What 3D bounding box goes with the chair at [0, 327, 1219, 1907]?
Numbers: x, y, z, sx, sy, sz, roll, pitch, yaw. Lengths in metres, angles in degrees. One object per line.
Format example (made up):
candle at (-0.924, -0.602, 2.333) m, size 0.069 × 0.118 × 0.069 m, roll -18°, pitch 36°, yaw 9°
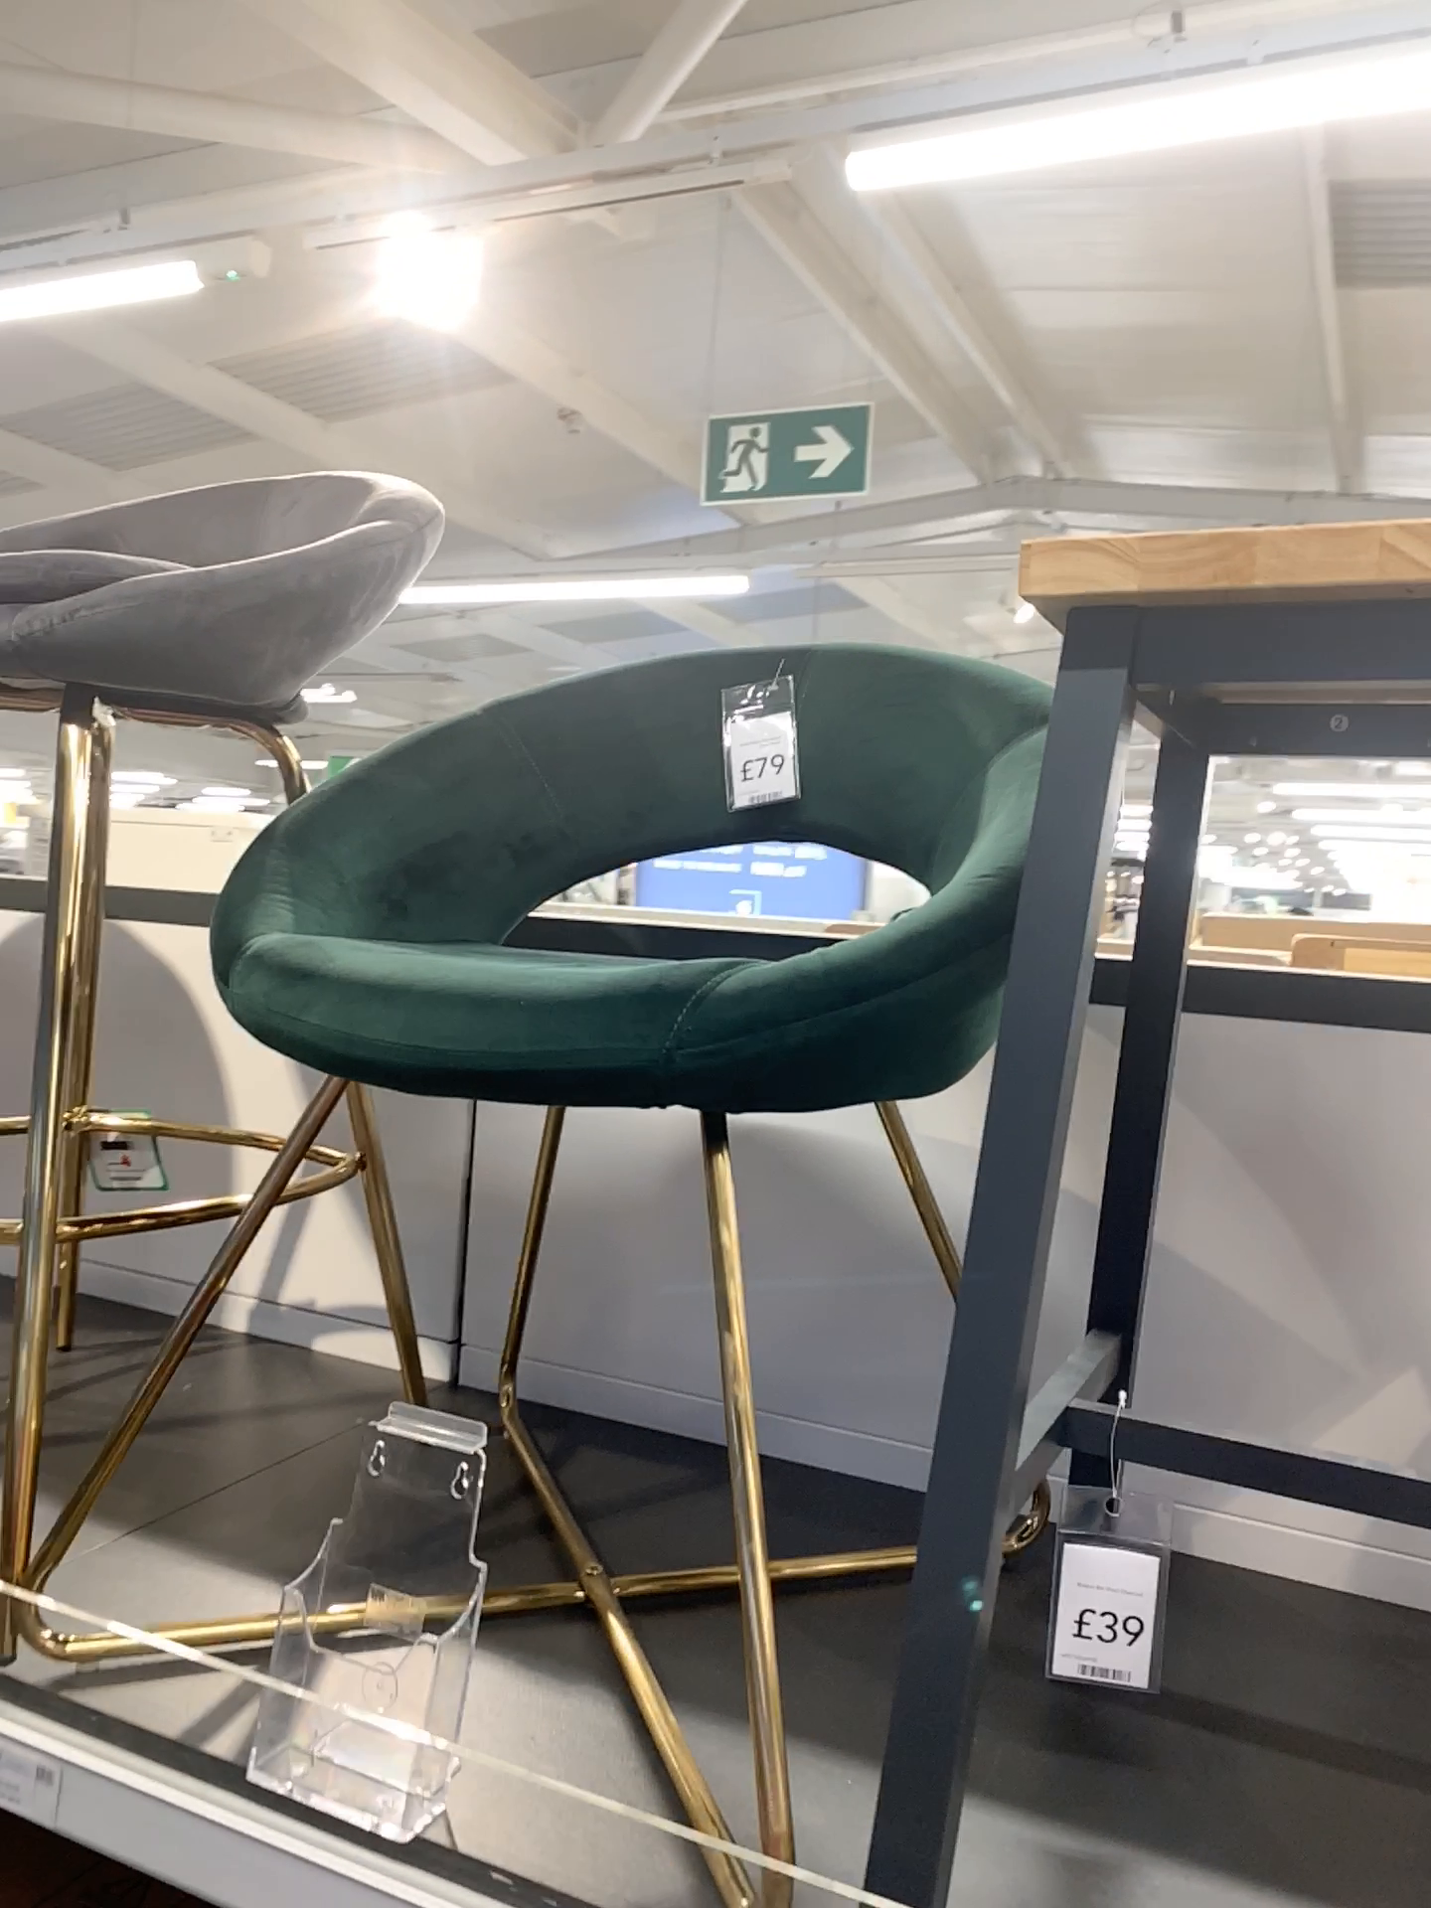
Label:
chair at (-0.043, 0.069, 1.041) m, size 0.634 × 0.700 × 0.669 m, roll 4°, pitch 2°, yaw 26°
